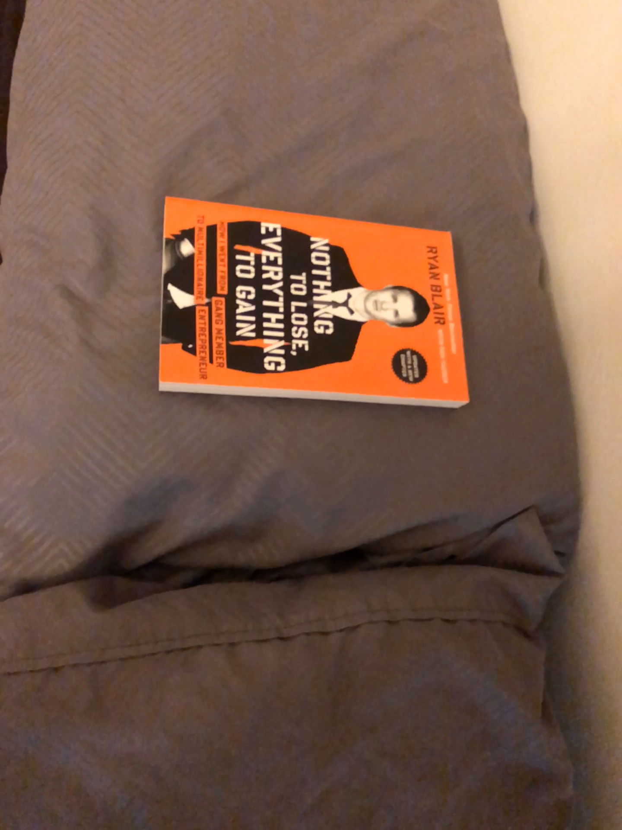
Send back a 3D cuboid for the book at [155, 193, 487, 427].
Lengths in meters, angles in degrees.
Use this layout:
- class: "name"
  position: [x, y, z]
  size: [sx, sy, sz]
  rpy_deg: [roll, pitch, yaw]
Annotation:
- class: "book"
  position: [0.010, -0.072, 0.492]
  size: [0.230, 0.020, 0.150]
  rpy_deg: [3, 74, -15]
